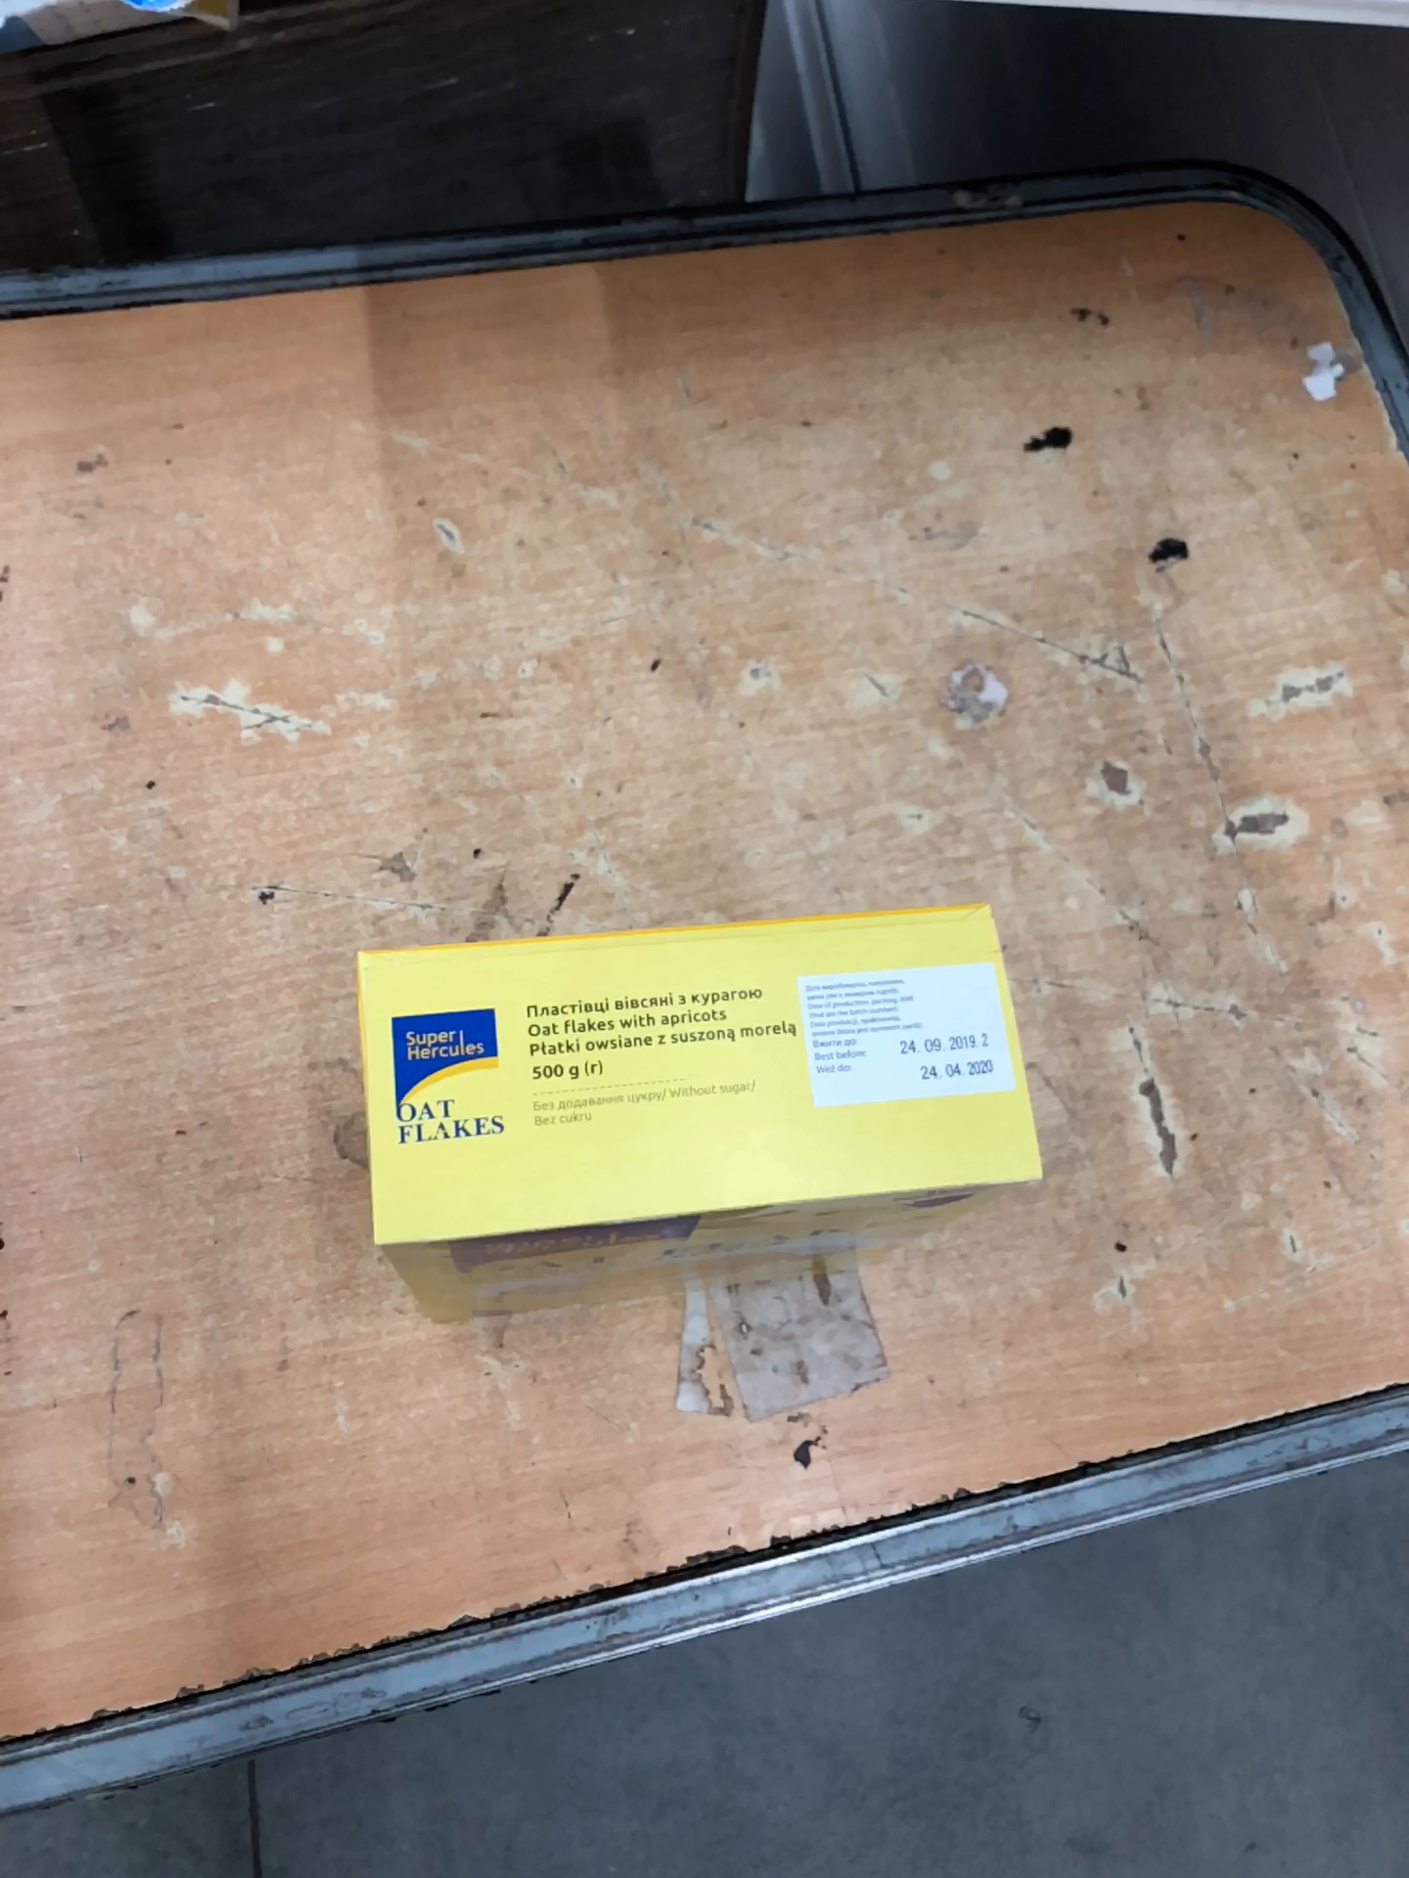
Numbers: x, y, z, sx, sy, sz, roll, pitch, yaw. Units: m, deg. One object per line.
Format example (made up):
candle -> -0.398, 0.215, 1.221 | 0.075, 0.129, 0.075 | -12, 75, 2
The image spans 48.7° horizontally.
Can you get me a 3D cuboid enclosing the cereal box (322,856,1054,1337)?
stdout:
cereal box -> -0.013, 0.055, 0.429 | 0.150, 0.200, 0.080 | -5, 73, -7
